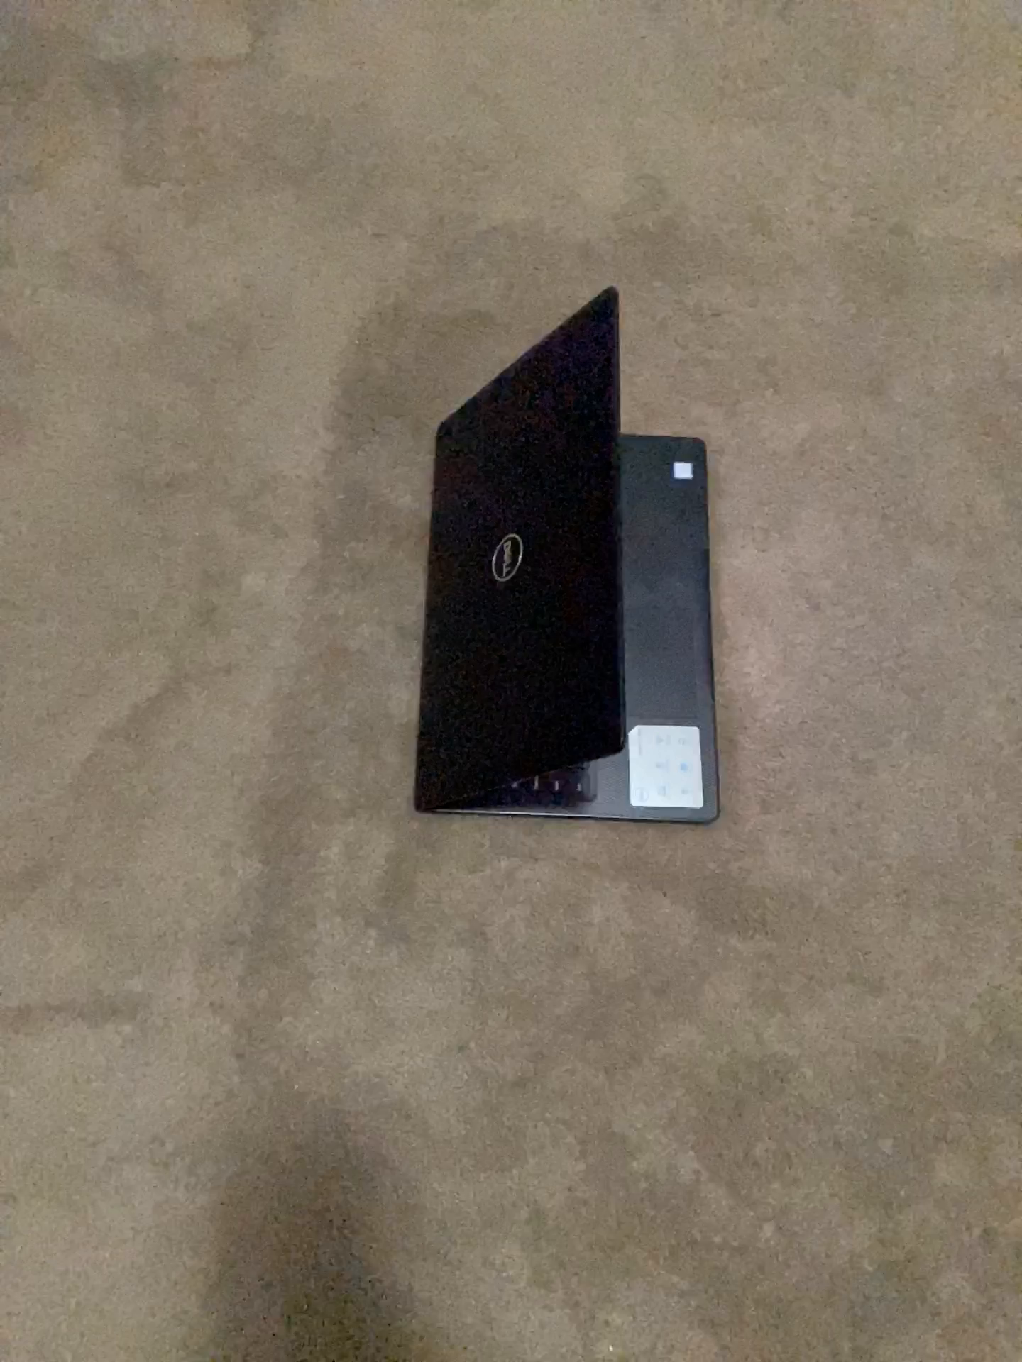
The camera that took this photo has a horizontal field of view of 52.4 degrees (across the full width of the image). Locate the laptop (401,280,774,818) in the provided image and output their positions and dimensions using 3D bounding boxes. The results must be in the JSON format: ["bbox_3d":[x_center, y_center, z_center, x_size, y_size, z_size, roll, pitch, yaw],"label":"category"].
[{"bbox_3d":[0.056,-0.100,0.856,0.251,0.202,0.377,3,69,-2],"label":"laptop"}]
